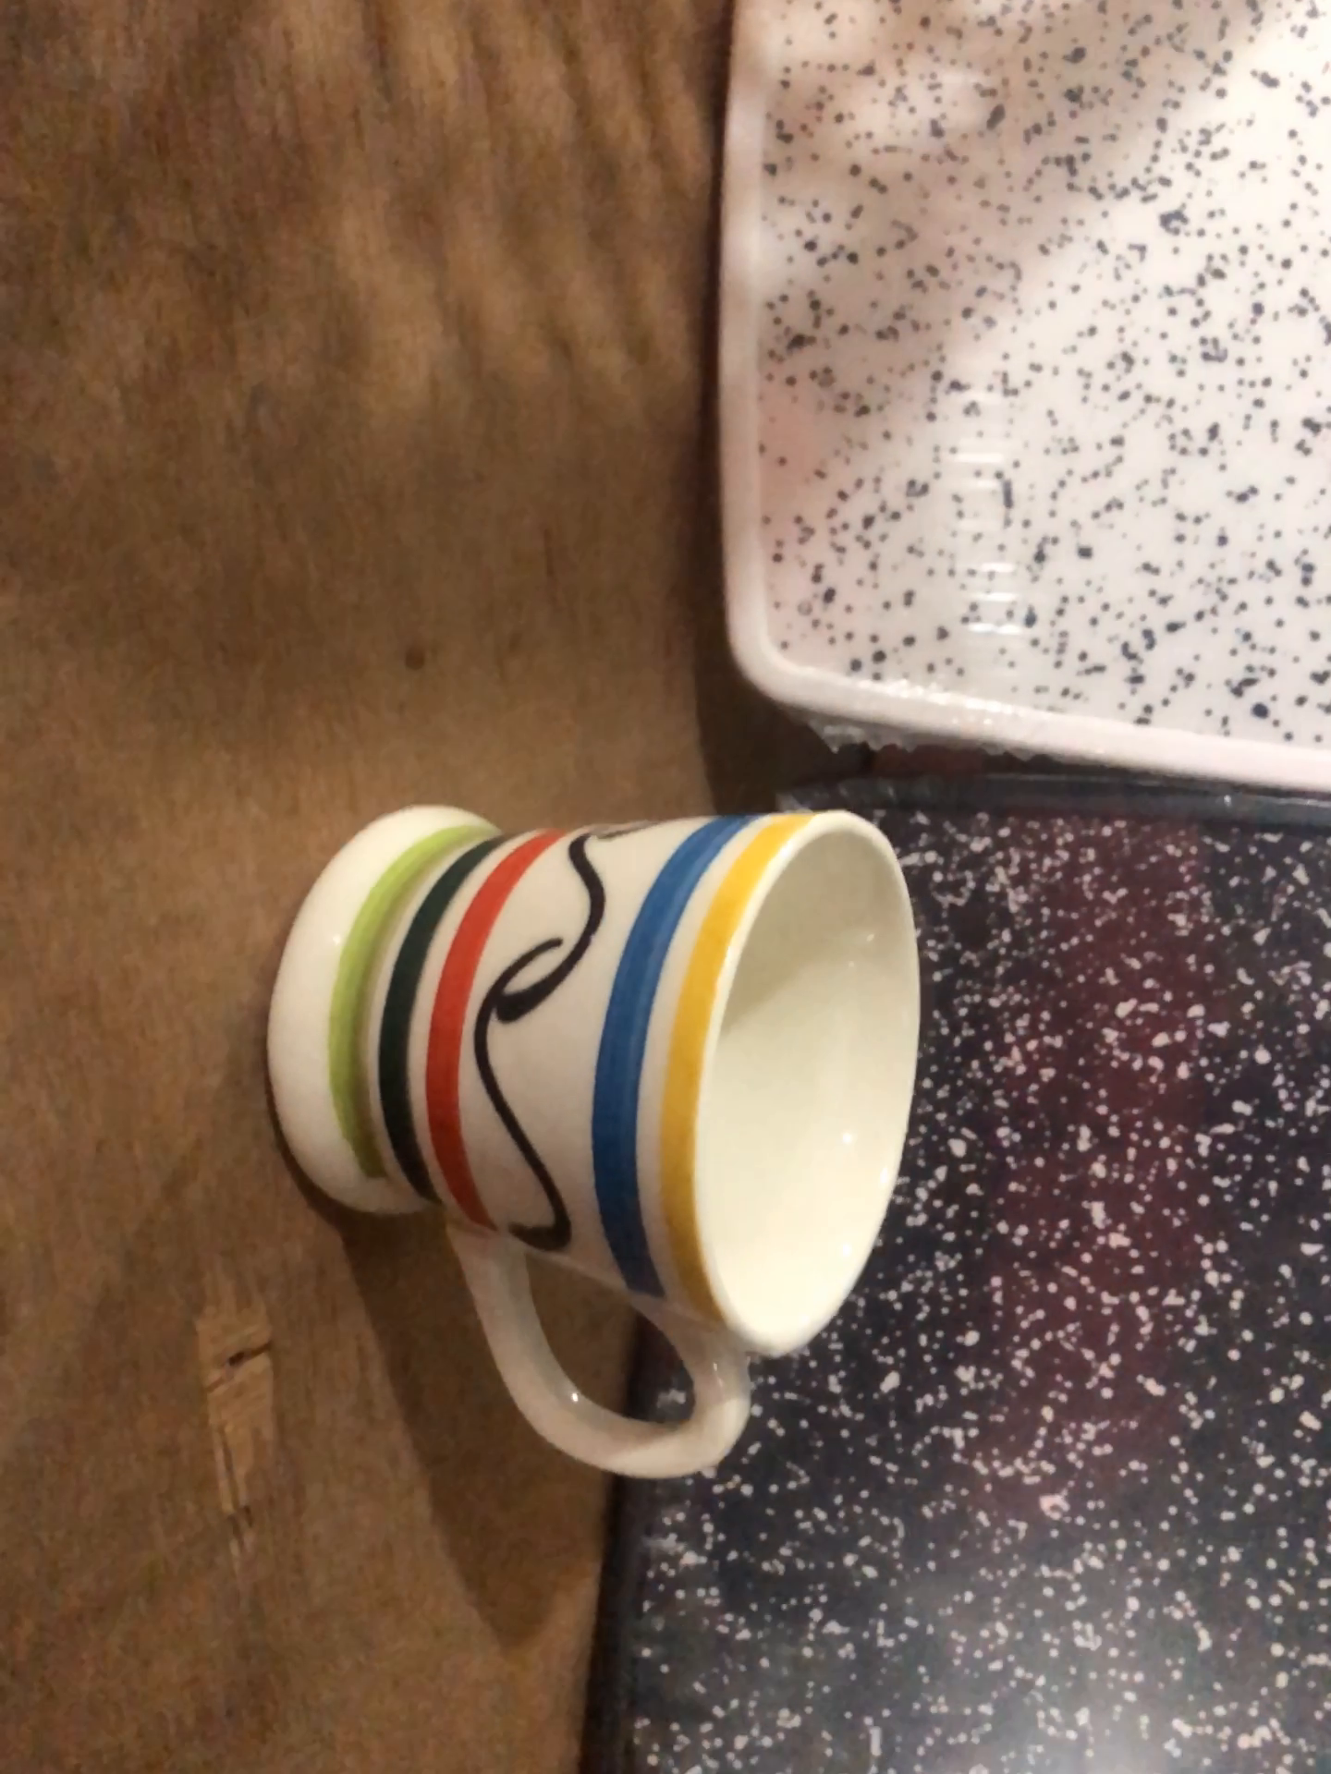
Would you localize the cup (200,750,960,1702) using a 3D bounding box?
[{"bbox_3d":[-0.010,0.035,0.206,0.060,0.079,0.100,-17,110,-58],"label":"cup"}]
